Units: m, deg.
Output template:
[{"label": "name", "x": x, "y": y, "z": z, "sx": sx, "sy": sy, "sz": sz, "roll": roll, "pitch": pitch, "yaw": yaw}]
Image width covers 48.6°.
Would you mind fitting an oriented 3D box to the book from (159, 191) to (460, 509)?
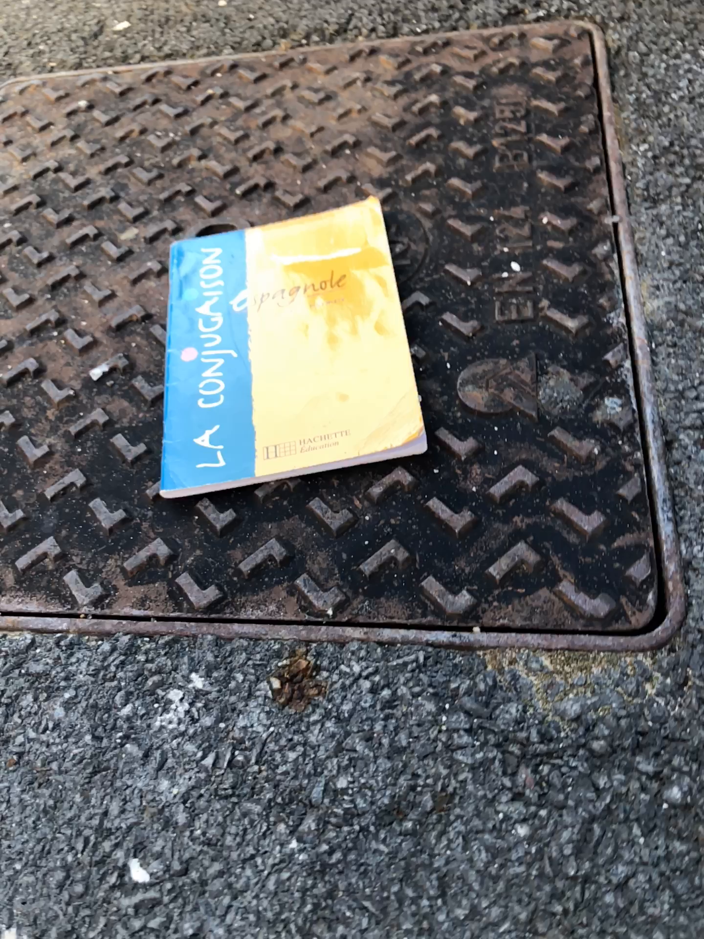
[{"label": "book", "x": -0.029, "y": -0.073, "z": 0.420, "sx": 0.140, "sy": 0.017, "sz": 0.188, "roll": -10, "pitch": 54, "yaw": 3}]
